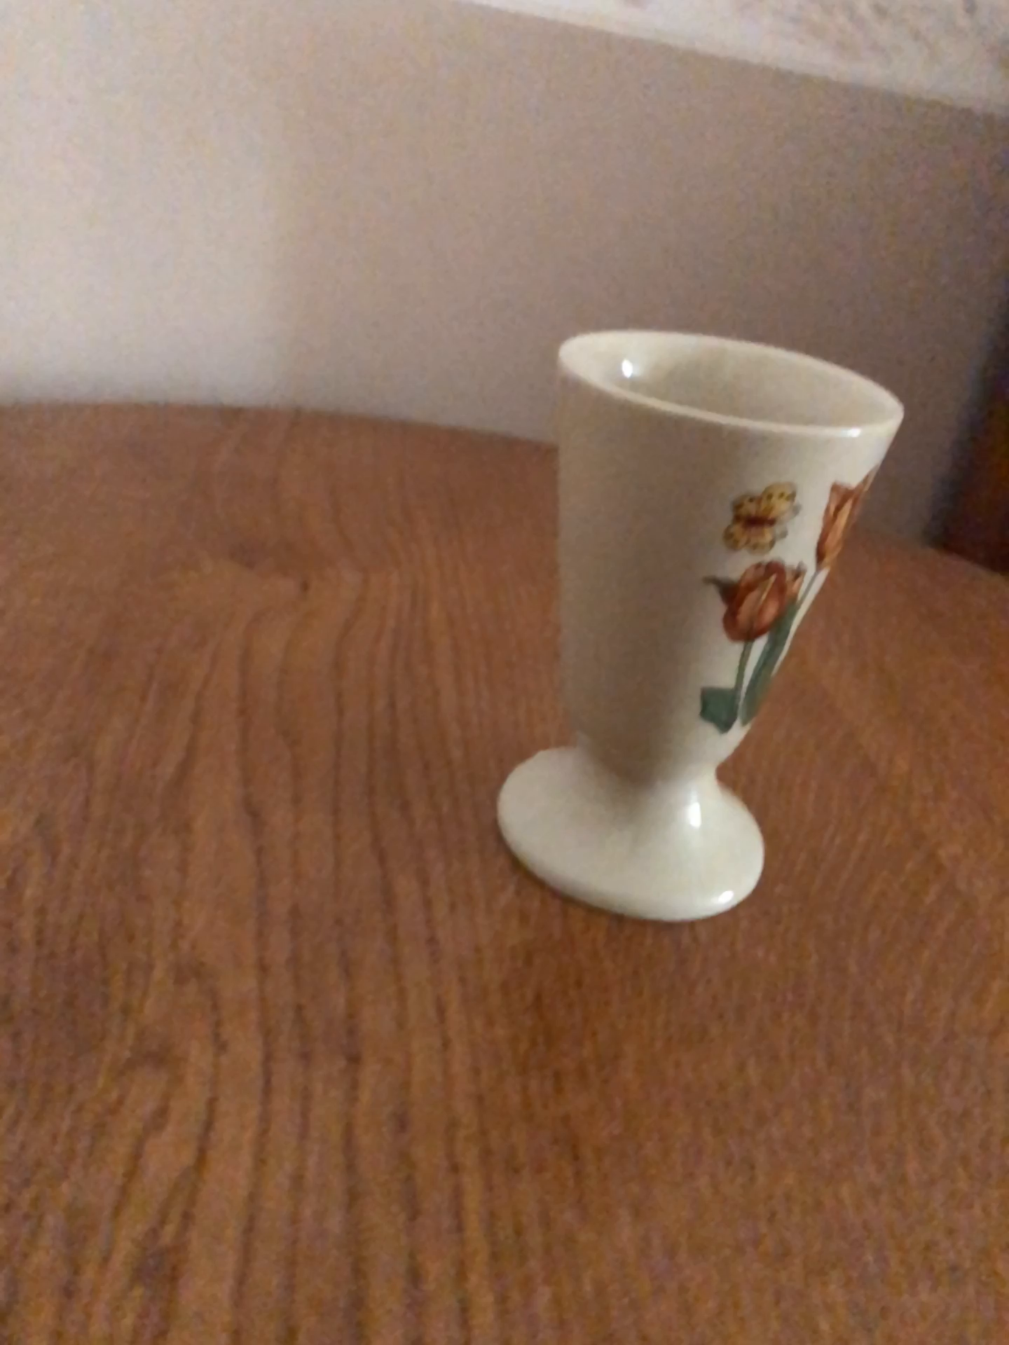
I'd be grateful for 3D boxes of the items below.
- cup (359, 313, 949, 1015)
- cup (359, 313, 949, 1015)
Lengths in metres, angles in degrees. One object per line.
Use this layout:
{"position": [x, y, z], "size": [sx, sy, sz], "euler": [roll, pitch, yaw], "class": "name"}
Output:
{"position": [0.029, -0.009, 0.256], "size": [0.080, 0.119, 0.080], "euler": [8, 27, -4], "class": "cup"}
{"position": [0.029, -0.009, 0.256], "size": [0.080, 0.119, 0.080], "euler": [8, 27, -4], "class": "cup"}
